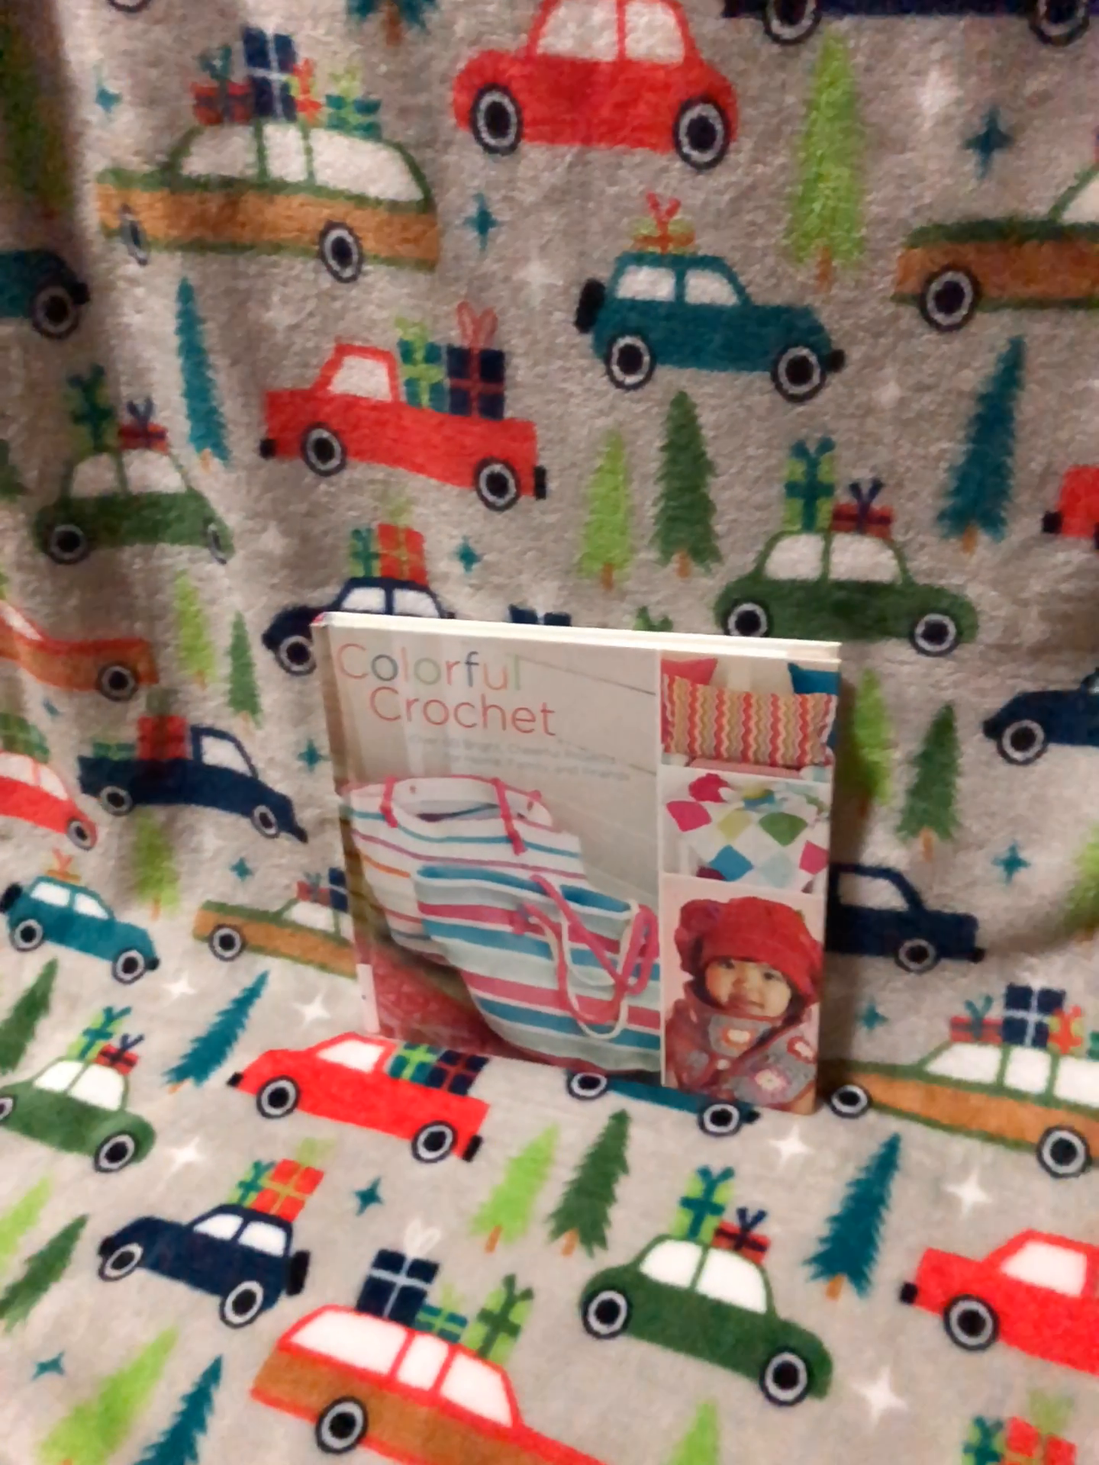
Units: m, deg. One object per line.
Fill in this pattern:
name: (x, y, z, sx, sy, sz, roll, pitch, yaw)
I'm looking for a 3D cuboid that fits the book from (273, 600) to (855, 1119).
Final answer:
book: (0.009, 0.054, 0.476, 0.202, 0.214, 0.020, 5, 35, 16)
